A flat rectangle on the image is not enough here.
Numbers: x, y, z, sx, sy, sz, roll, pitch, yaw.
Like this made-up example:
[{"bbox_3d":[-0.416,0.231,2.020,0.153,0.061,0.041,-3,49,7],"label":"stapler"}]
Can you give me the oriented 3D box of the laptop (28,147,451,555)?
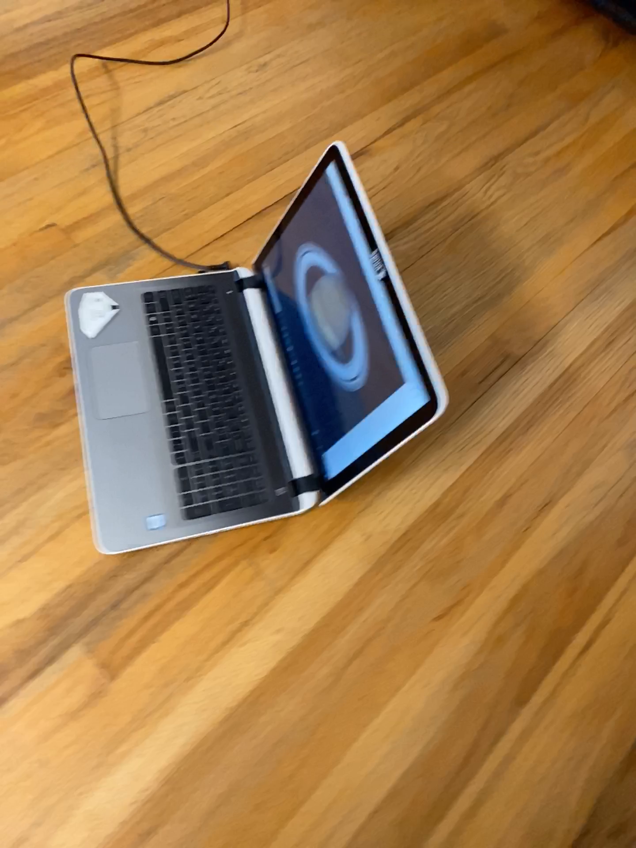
[{"bbox_3d":[-0.107,-0.094,0.760,0.363,0.202,0.372,-11,65,-13],"label":"laptop"}]
